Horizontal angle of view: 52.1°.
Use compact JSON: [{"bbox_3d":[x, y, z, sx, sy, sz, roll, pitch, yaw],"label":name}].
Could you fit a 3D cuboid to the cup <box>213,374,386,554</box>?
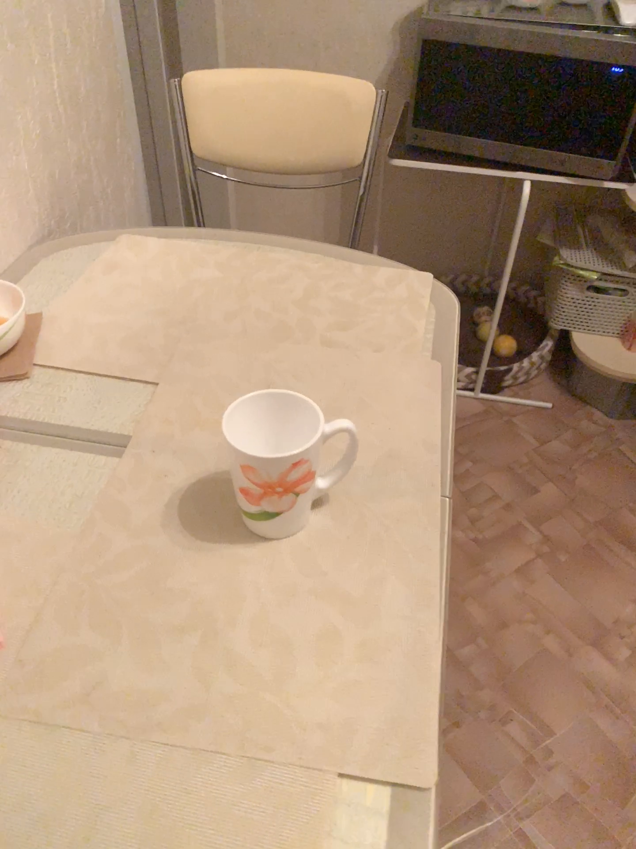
[{"bbox_3d":[-0.018,0.031,0.527,0.120,0.099,0.091,-5,43,-7],"label":"cup"}]
